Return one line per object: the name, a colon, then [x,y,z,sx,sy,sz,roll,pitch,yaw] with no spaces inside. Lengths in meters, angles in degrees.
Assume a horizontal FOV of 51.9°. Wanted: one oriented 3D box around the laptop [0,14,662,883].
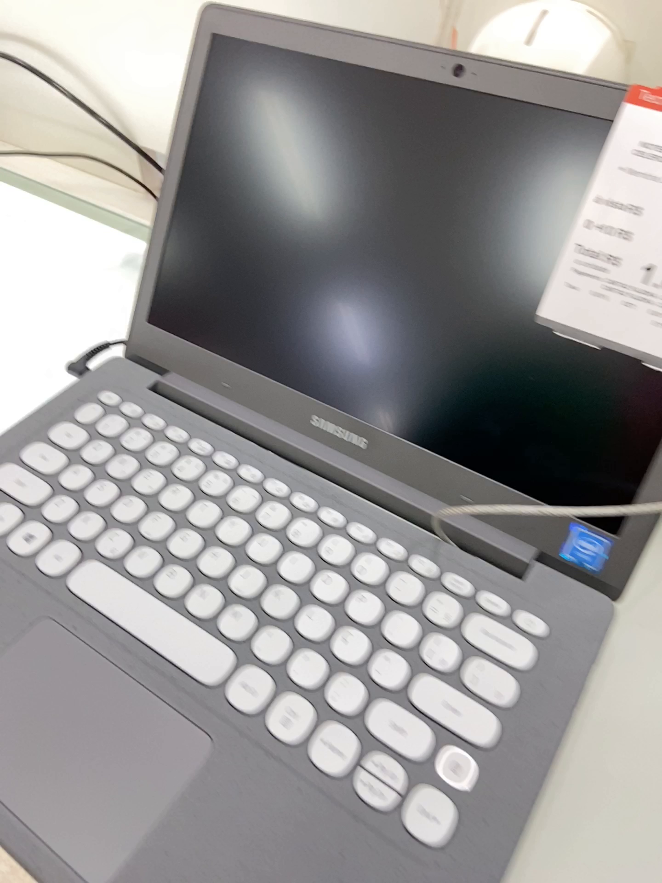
laptop: [-0.029,-0.020,0.286,0.325,0.172,0.342,25,51,24]
